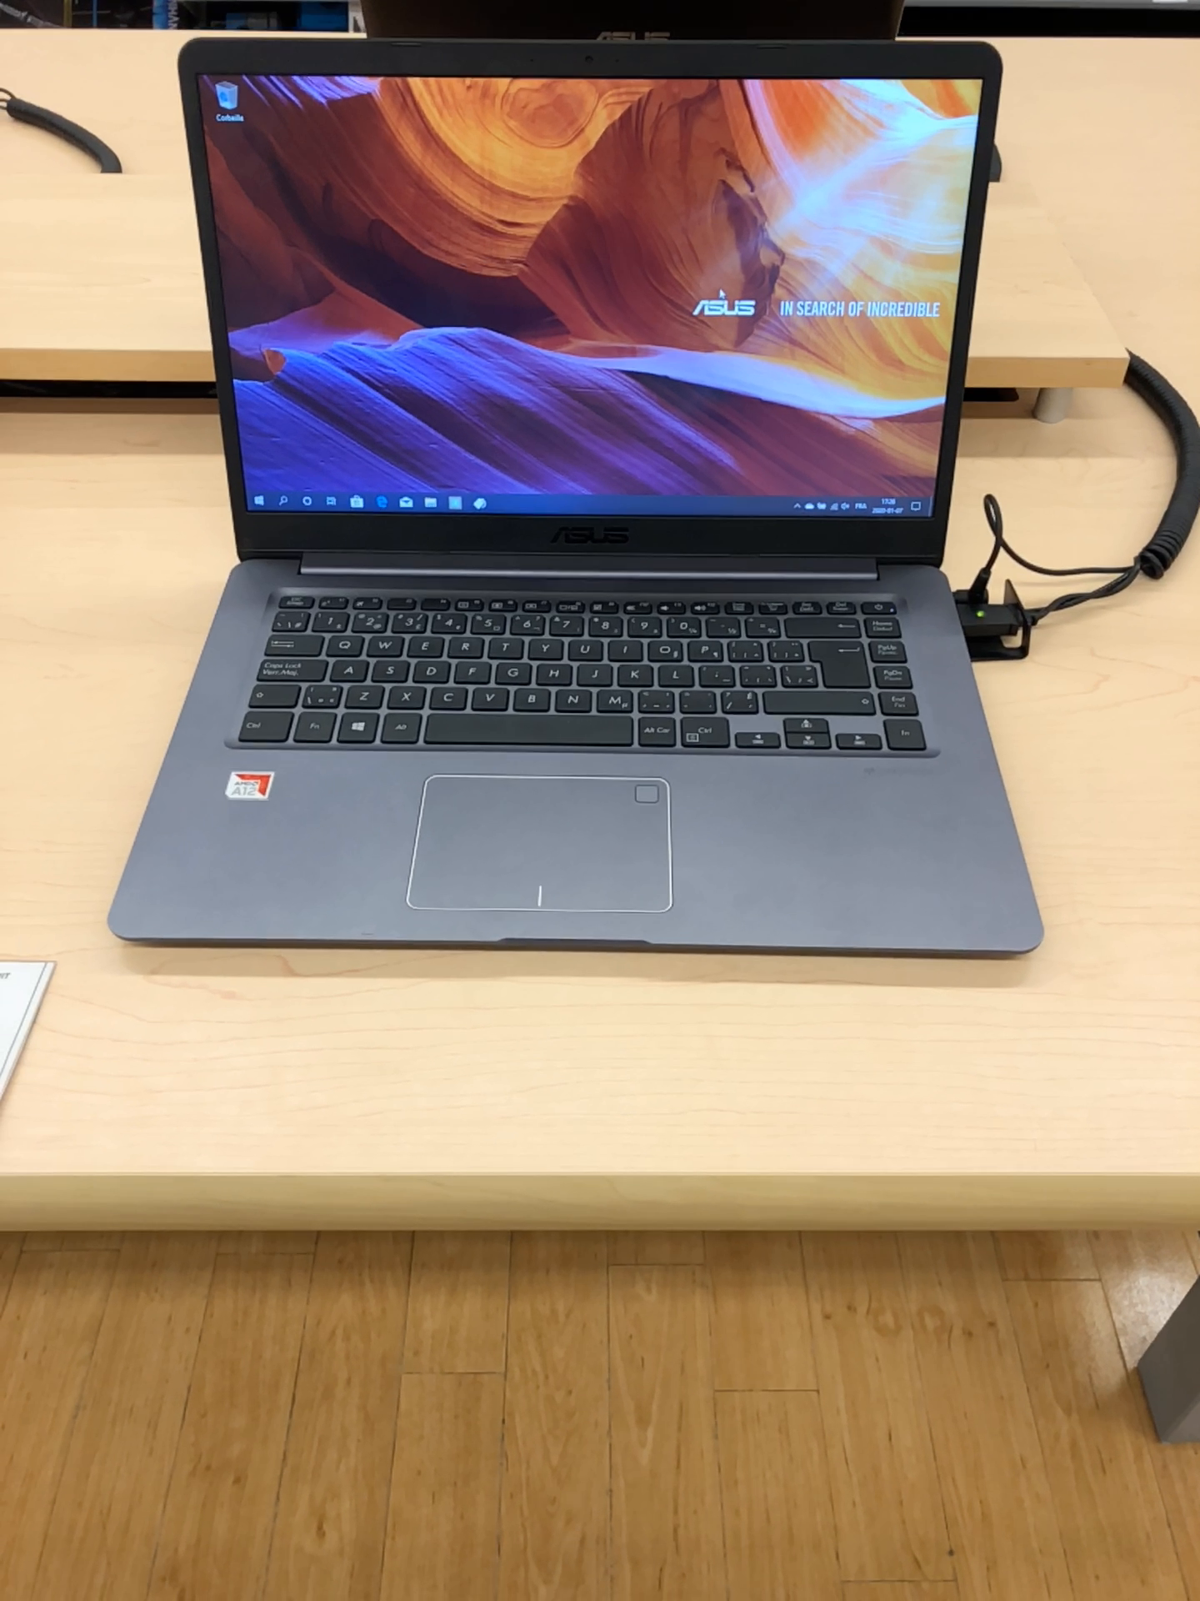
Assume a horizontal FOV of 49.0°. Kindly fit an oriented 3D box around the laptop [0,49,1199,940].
[{"bbox_3d":[-0.009,-0.139,0.553,0.361,0.223,0.319,1,46,0],"label":"laptop"}]
